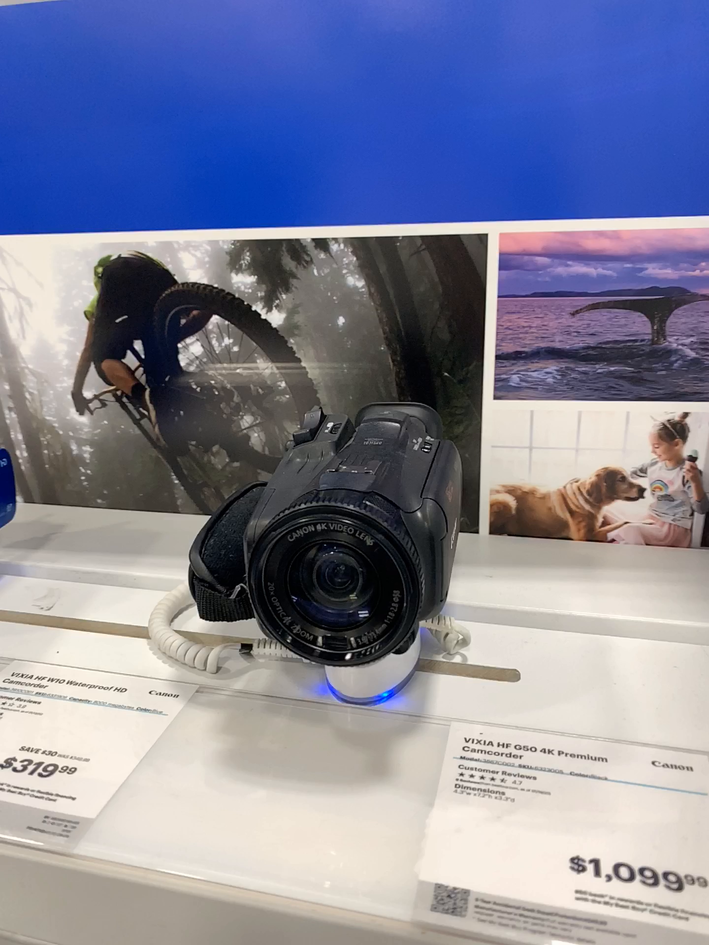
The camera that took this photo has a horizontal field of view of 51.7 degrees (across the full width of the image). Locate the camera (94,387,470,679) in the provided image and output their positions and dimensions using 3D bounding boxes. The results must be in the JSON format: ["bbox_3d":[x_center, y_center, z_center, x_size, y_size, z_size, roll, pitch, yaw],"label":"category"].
[{"bbox_3d":[-0.014,0.011,0.367,0.131,0.069,0.201,3,17,11],"label":"camera"}]
